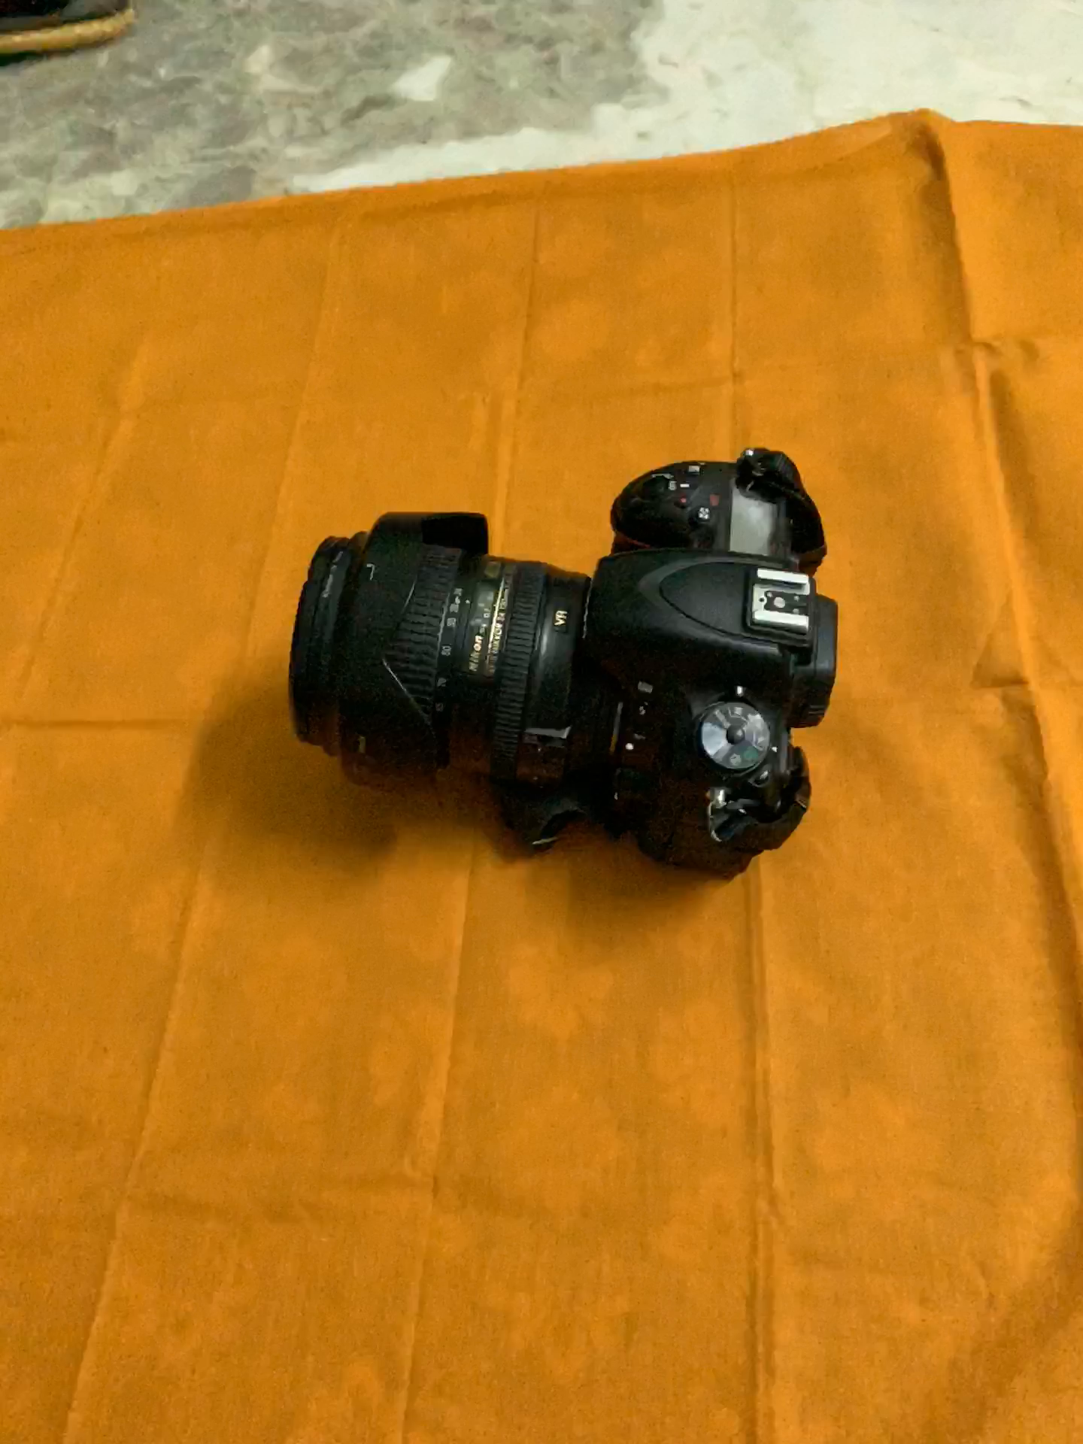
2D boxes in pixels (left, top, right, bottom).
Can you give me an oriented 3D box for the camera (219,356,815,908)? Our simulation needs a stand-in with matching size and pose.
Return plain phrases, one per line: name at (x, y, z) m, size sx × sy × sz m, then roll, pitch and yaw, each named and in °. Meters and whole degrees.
camera at (0.005, -0.030, 0.395) m, size 0.170 × 0.110 × 0.152 m, roll 1°, pitch 60°, yaw 11°
